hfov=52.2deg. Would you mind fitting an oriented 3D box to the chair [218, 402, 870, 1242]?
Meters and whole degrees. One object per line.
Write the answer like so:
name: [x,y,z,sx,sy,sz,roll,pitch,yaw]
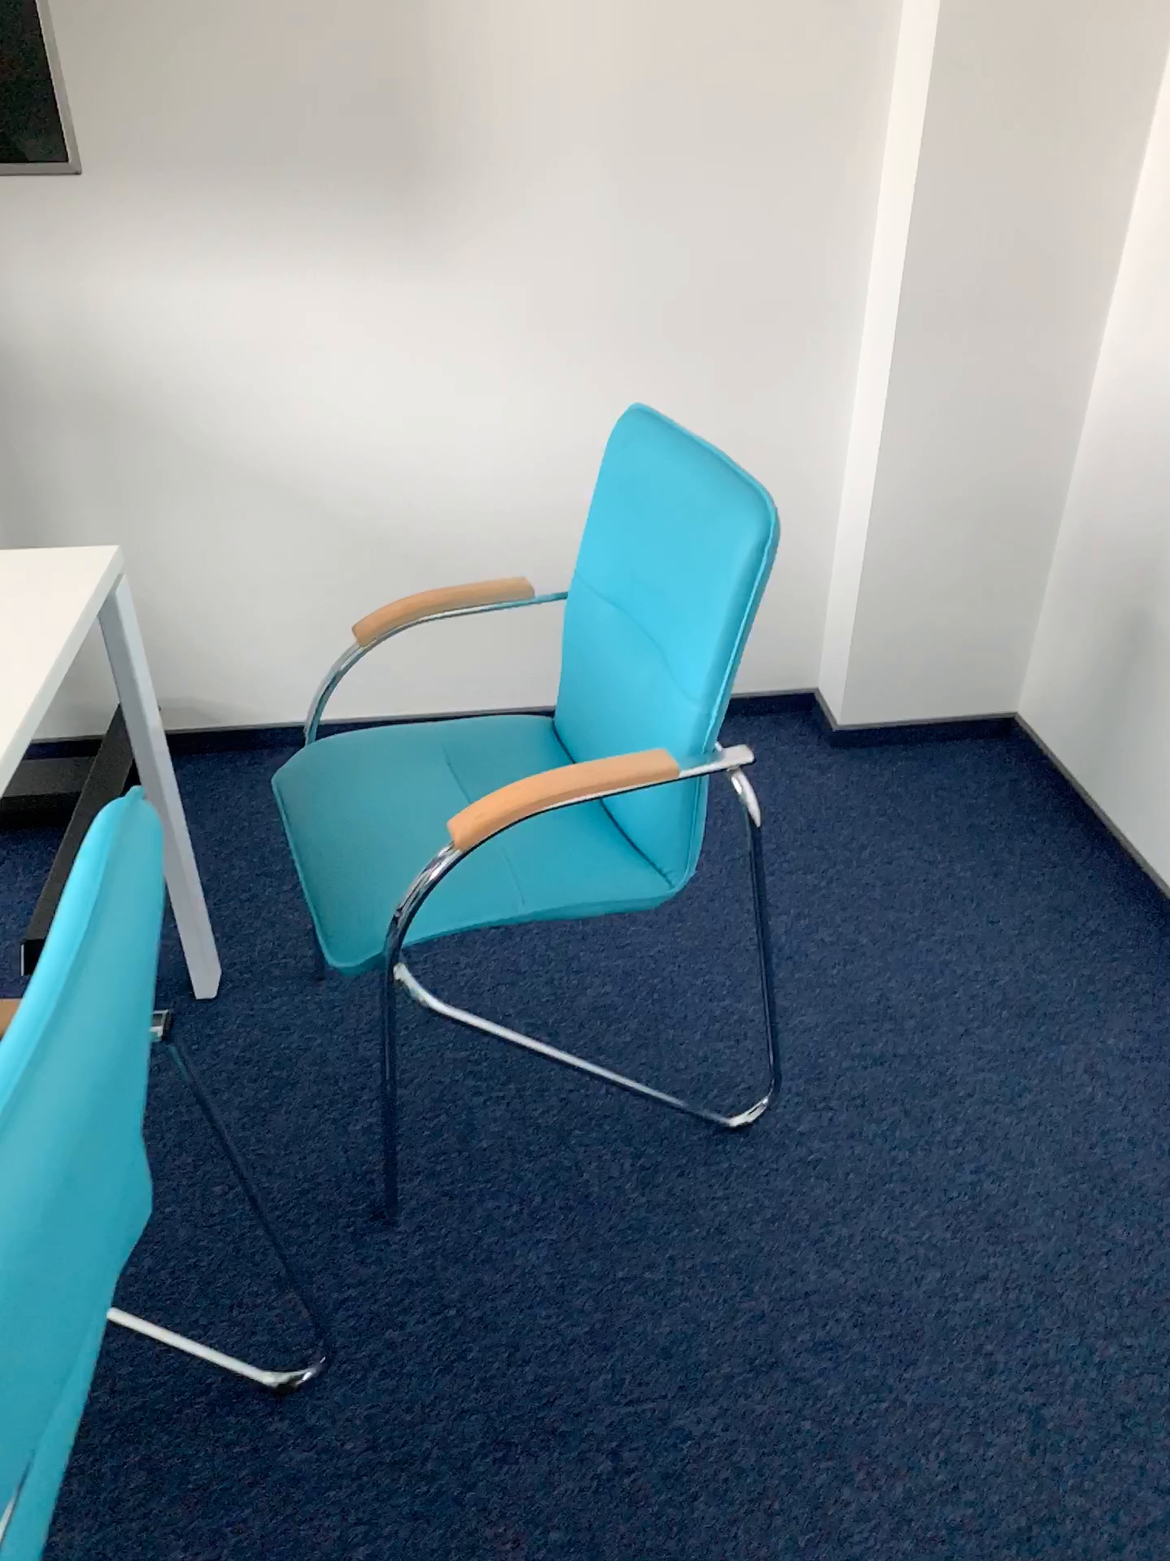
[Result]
chair: [-0.091,0.022,1.640,0.601,0.845,0.623,-12,35,-17]
